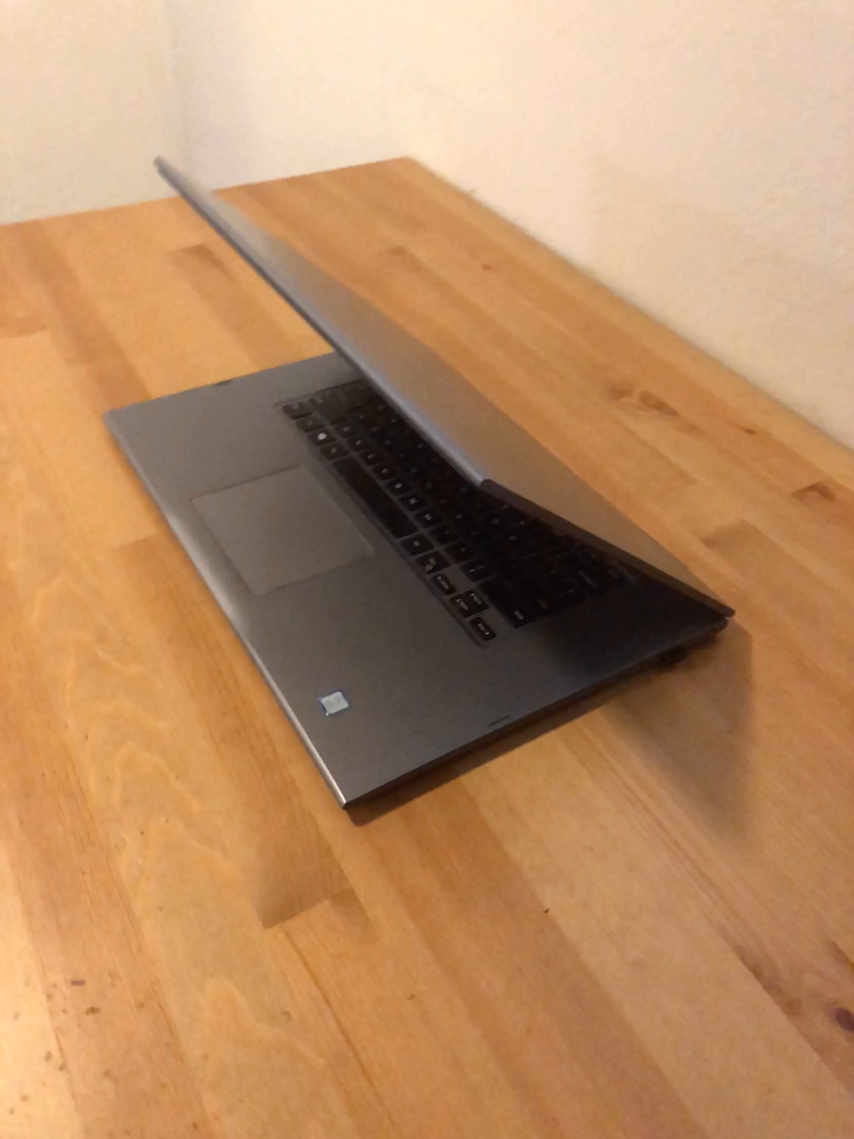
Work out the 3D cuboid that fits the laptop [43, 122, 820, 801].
[{"bbox_3d":[-0.027,-0.103,0.552,0.247,0.165,0.376,-21,47,-24],"label":"laptop"}]
